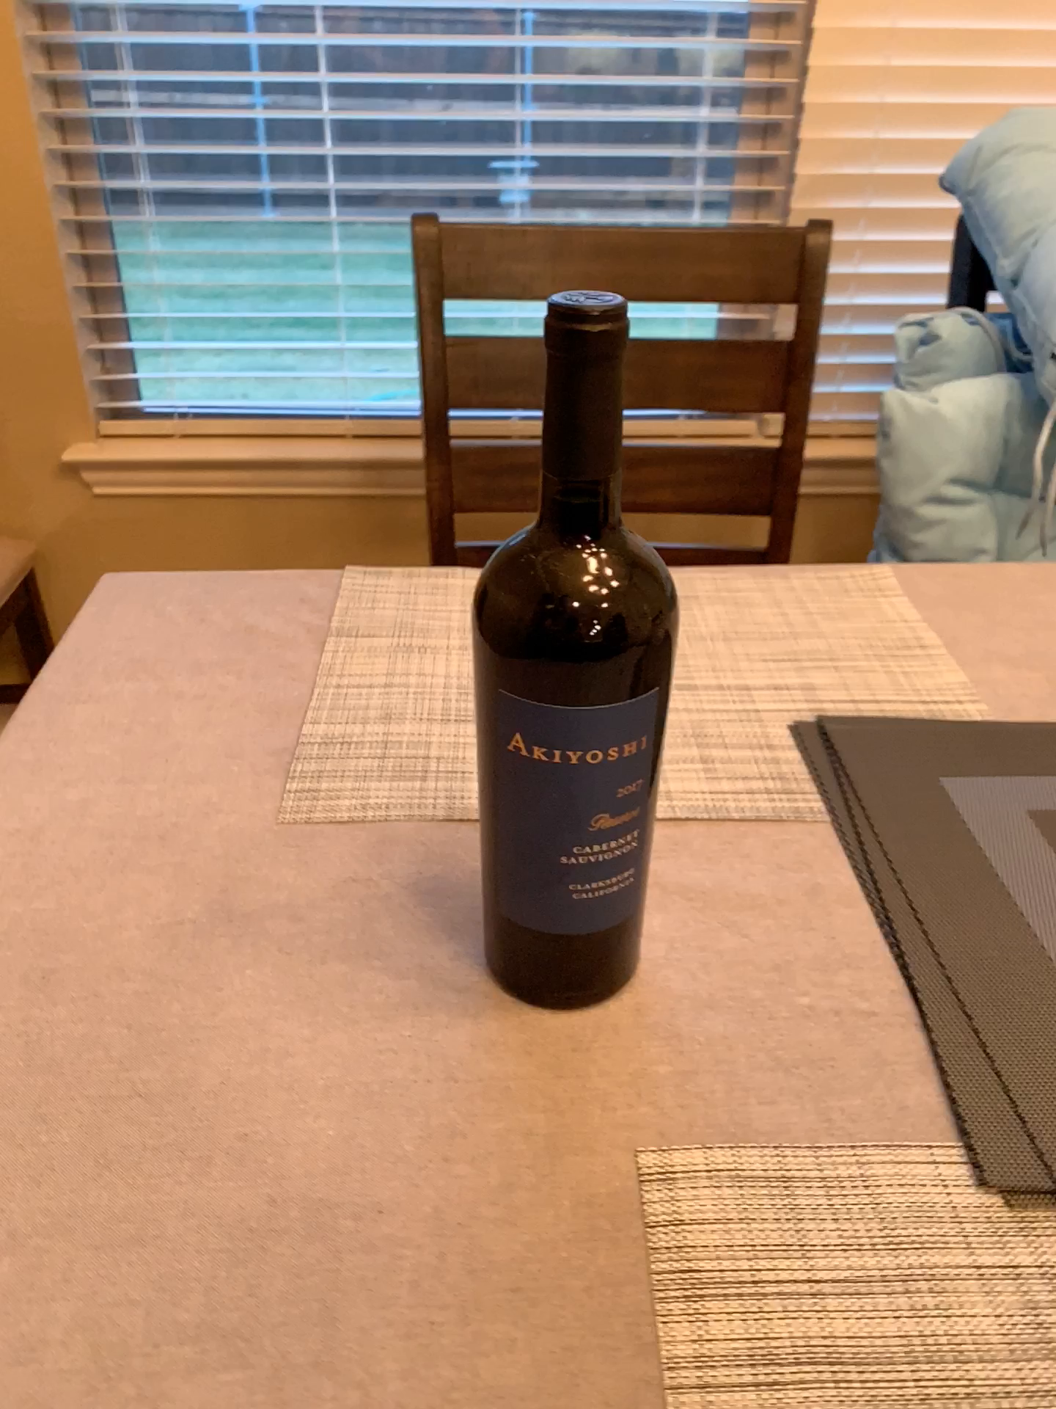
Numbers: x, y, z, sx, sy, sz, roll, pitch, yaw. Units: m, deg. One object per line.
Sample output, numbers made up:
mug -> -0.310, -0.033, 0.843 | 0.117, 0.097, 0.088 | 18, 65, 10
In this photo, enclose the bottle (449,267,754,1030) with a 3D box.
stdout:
bottle -> 0.018, -0.011, 0.442 | 0.090, 0.298, 0.090 | 1, 31, 0
